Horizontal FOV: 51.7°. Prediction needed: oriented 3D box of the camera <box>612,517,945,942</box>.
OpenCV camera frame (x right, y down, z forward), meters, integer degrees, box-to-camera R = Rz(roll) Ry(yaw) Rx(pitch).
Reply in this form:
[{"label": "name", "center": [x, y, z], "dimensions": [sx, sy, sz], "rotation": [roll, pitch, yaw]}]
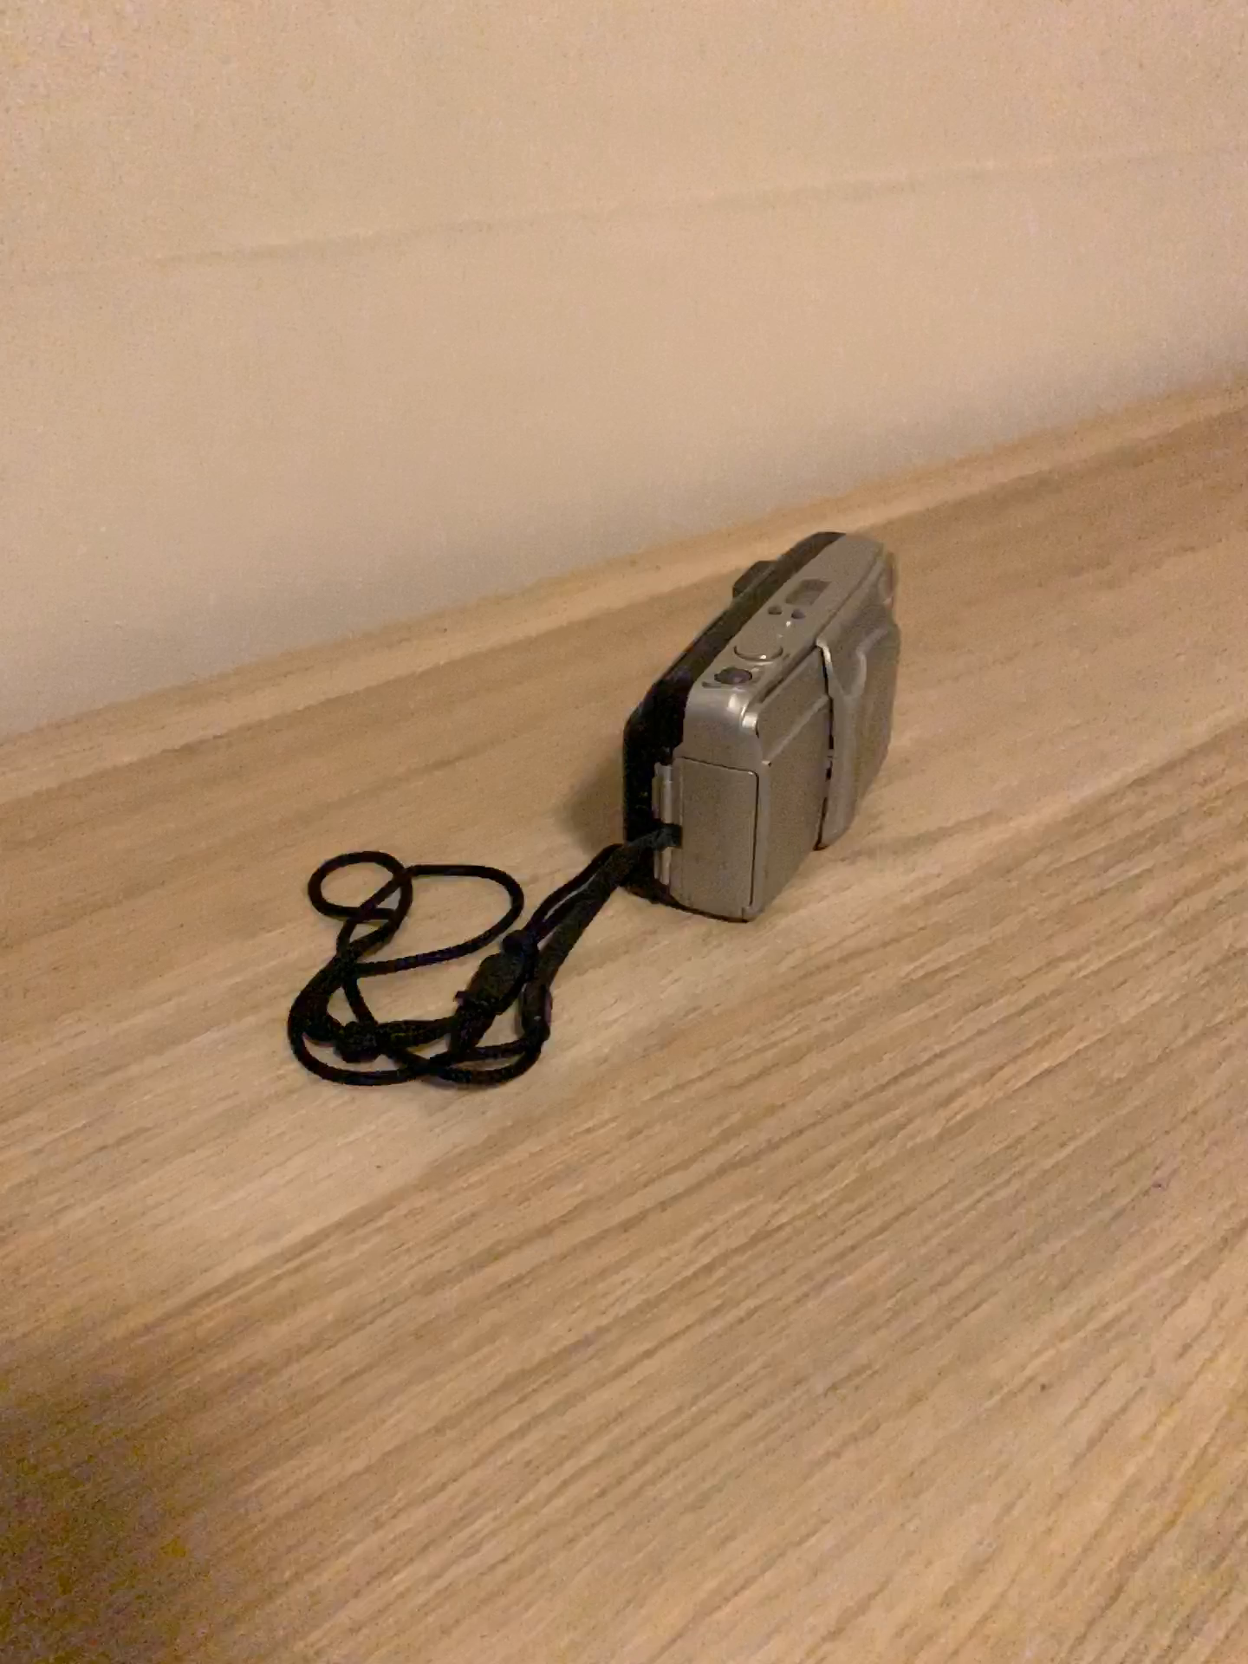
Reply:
[{"label": "camera", "center": [0.045, -0.035, 0.349], "dimensions": [0.046, 0.059, 0.127], "rotation": [14, 35, 22]}]
